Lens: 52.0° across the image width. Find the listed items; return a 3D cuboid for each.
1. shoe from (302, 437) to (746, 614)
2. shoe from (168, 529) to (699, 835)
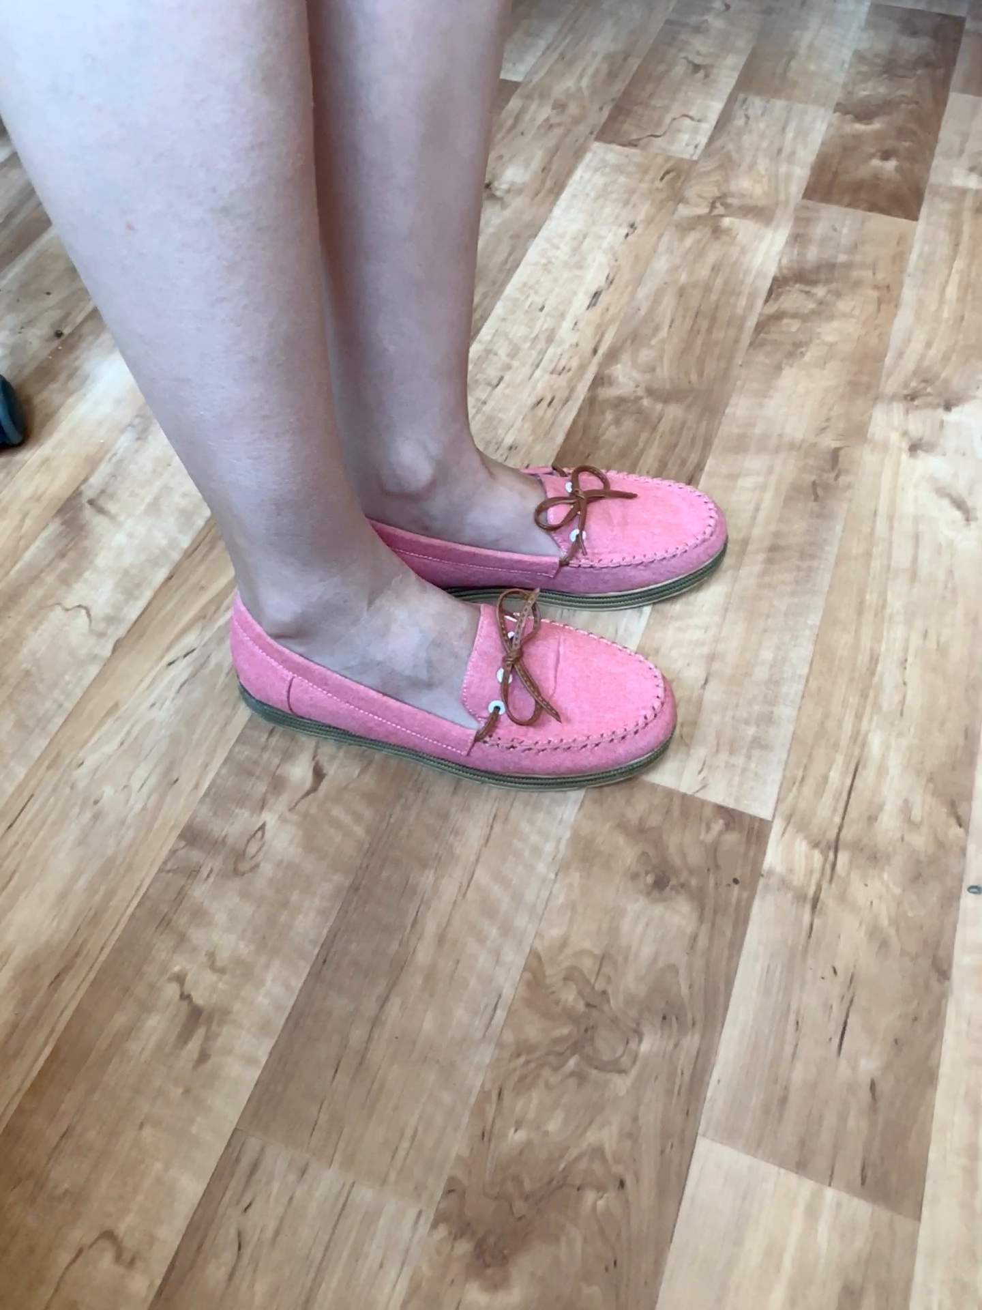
[{"bbox_3d":[0.019,-0.080,0.618,0.250,0.060,0.090,0,56,1],"label":"shoe"},{"bbox_3d":[-0.028,0.011,0.551,0.260,0.060,0.100,12,57,9],"label":"shoe"}]
